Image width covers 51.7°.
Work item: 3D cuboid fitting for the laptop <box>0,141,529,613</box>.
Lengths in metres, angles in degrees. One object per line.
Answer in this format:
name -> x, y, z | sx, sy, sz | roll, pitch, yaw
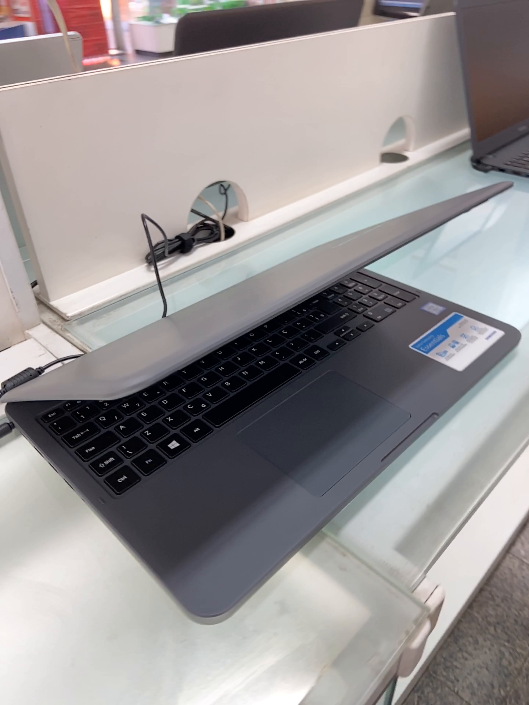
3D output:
laptop -> 0.015, -0.041, 0.420 | 0.237, 0.126, 0.368 | 30, 45, 35
